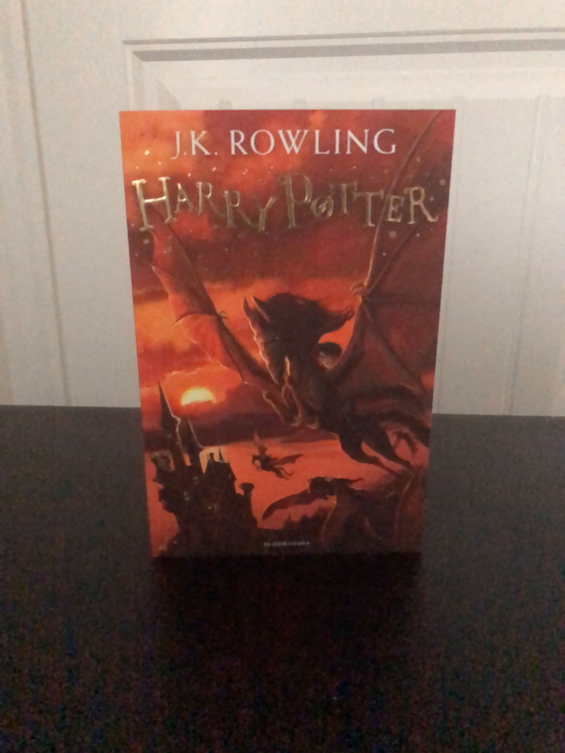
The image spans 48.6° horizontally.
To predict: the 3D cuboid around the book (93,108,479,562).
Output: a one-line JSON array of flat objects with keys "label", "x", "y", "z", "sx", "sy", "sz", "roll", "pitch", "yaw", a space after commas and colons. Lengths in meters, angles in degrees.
[{"label": "book", "x": 0.001, "y": -0.017, "z": 0.286, "sx": 0.141, "sy": 0.189, "sz": 0.062, "roll": -1, "pitch": 18, "yaw": -3}]
